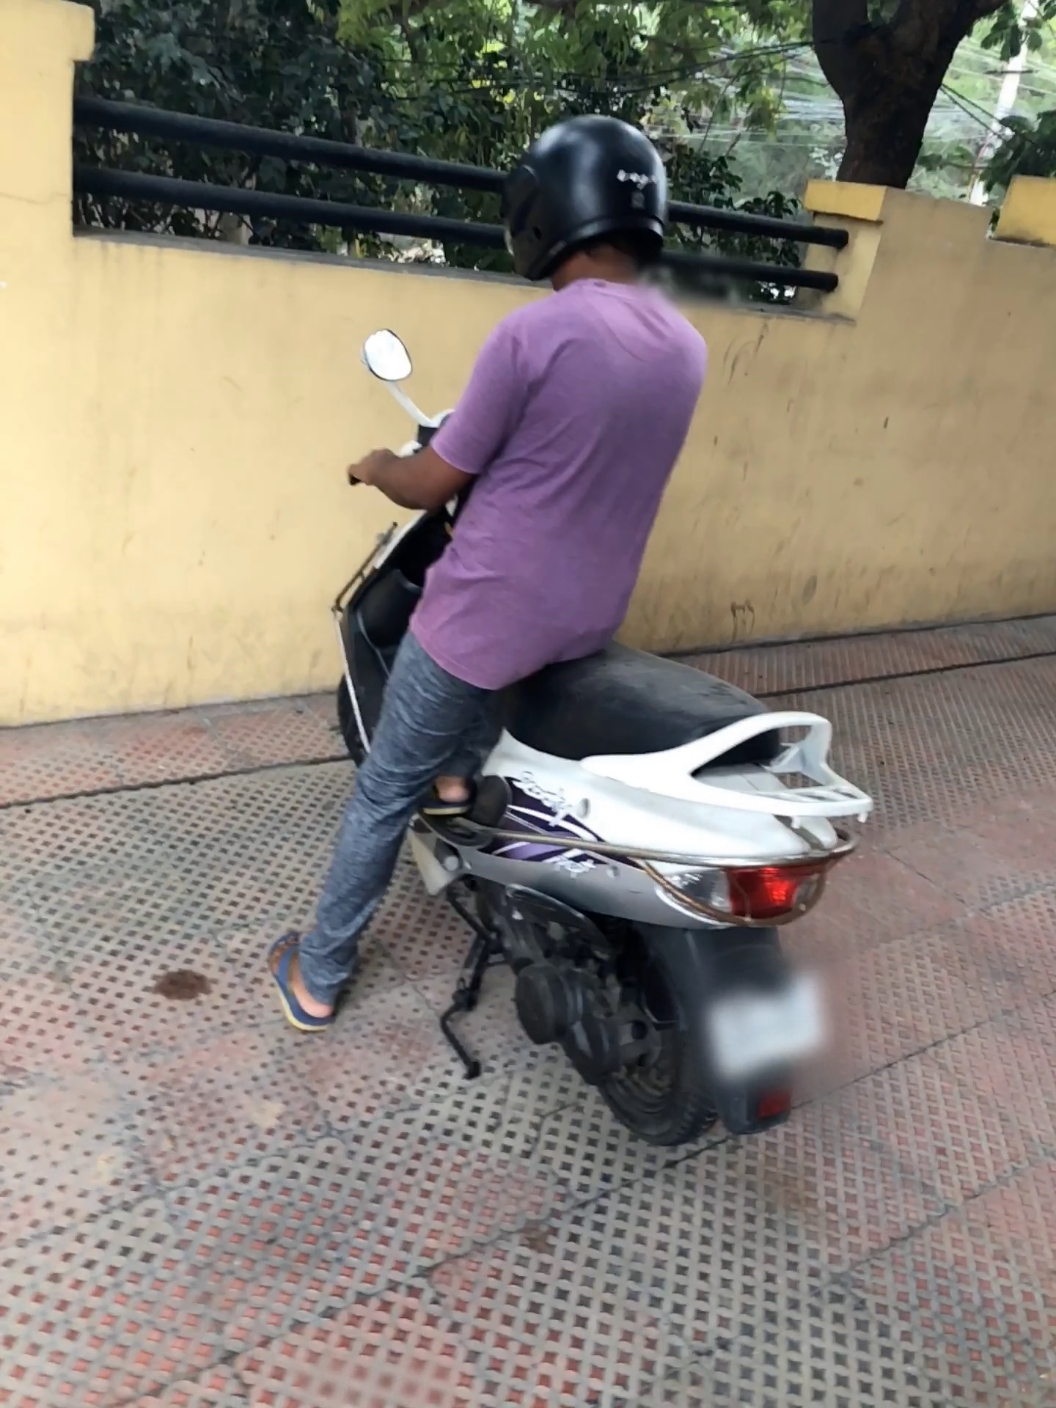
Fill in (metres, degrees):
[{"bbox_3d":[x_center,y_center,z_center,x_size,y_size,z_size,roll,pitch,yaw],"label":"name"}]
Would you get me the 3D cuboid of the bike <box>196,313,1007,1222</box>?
[{"bbox_3d":[-0.054,-0.038,2.244,0.644,0.949,1.506,-6,32,-33],"label":"bike"}]
